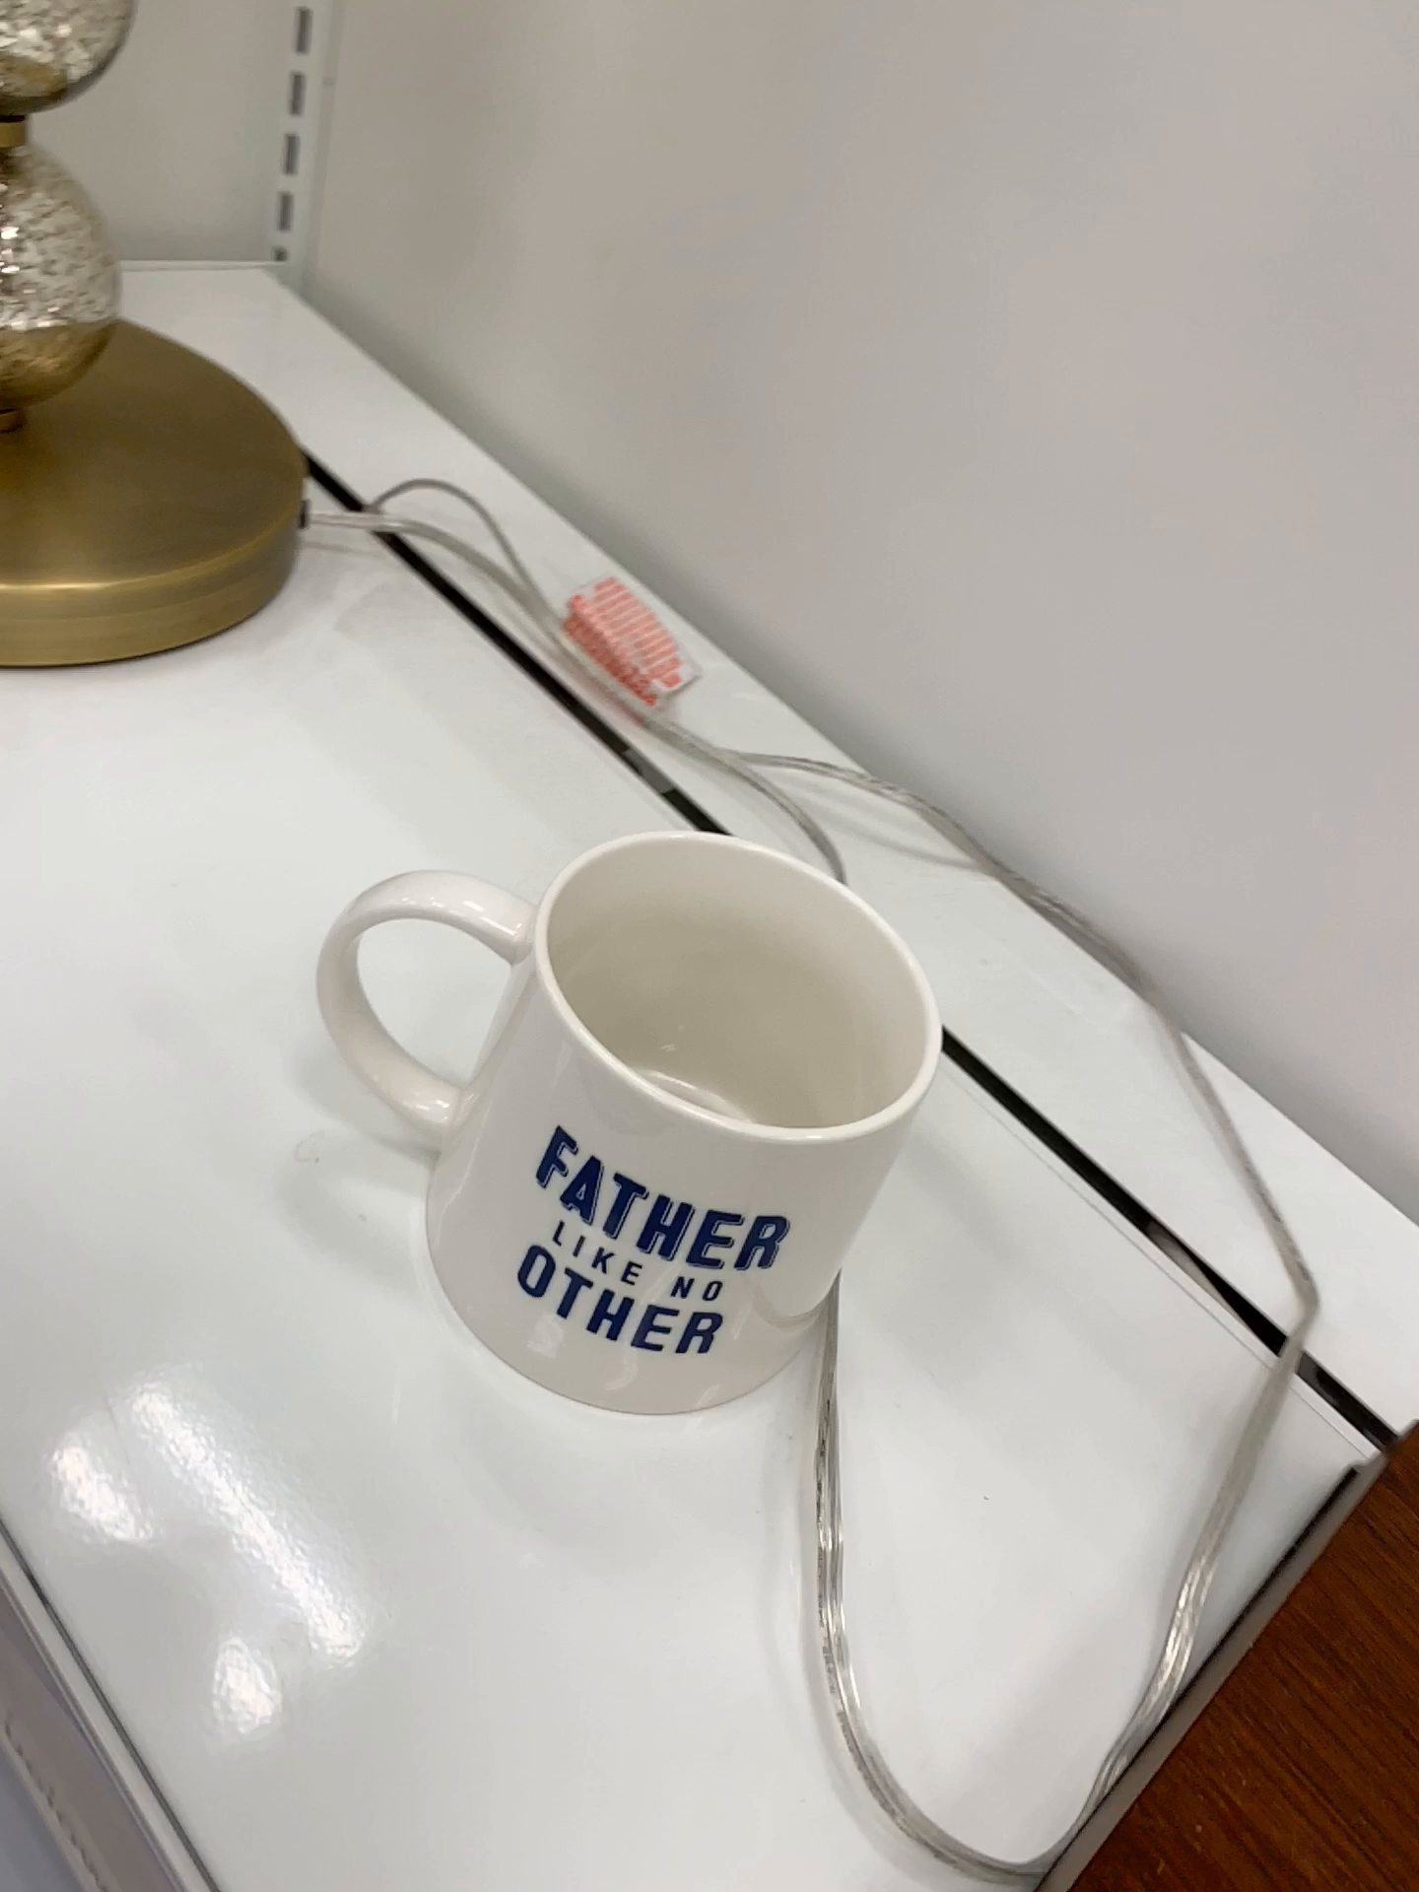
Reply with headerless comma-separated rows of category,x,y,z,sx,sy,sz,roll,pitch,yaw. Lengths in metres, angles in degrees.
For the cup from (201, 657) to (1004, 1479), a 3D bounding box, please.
cup,-0.026,0.030,0.388,0.160,0.119,0.121,22,40,0
